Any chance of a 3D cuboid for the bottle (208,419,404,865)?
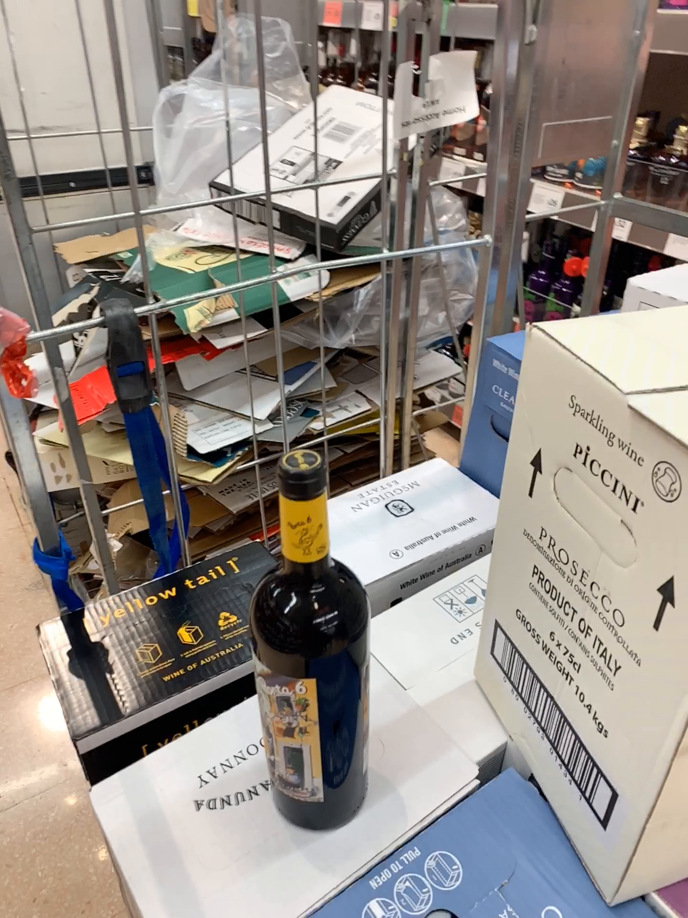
[{"bbox_3d":[-0.024,0.130,0.457,0.077,0.295,0.079,1,33,0],"label":"bottle"}]
